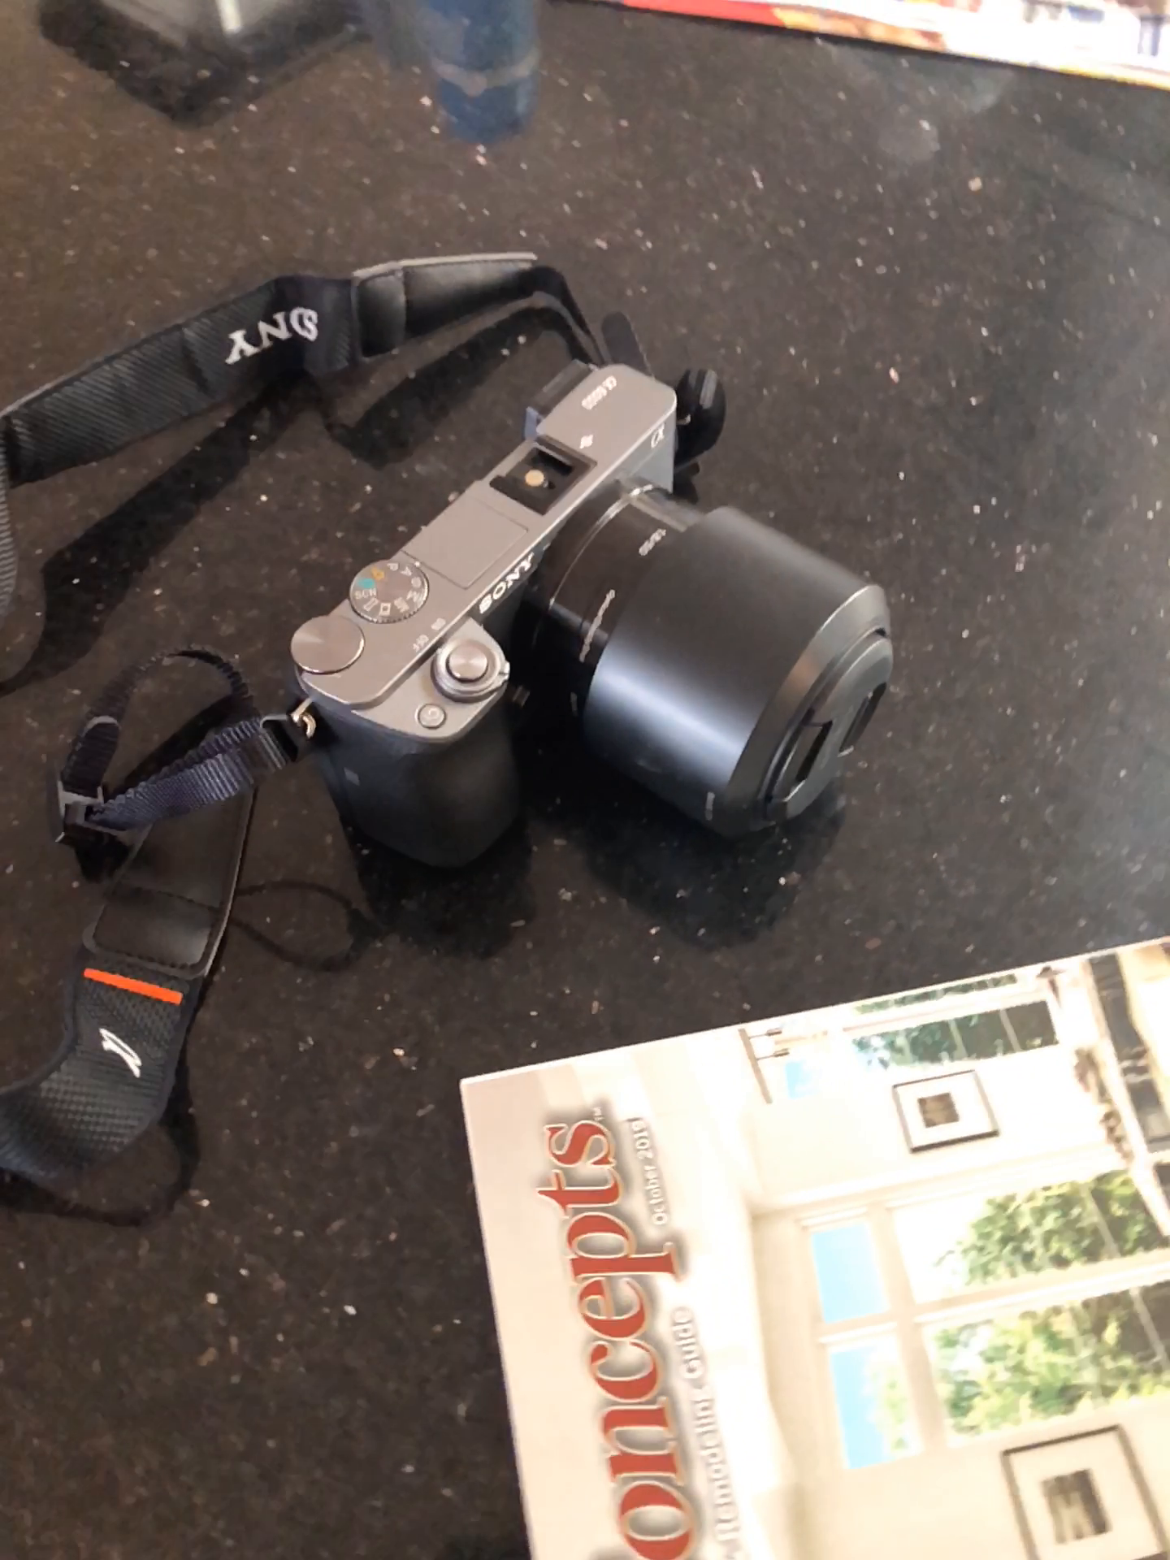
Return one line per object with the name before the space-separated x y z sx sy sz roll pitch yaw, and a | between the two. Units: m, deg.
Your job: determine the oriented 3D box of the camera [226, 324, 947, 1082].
camera | 0.003 -0.019 0.323 0.099 0.100 0.127 34 66 19
